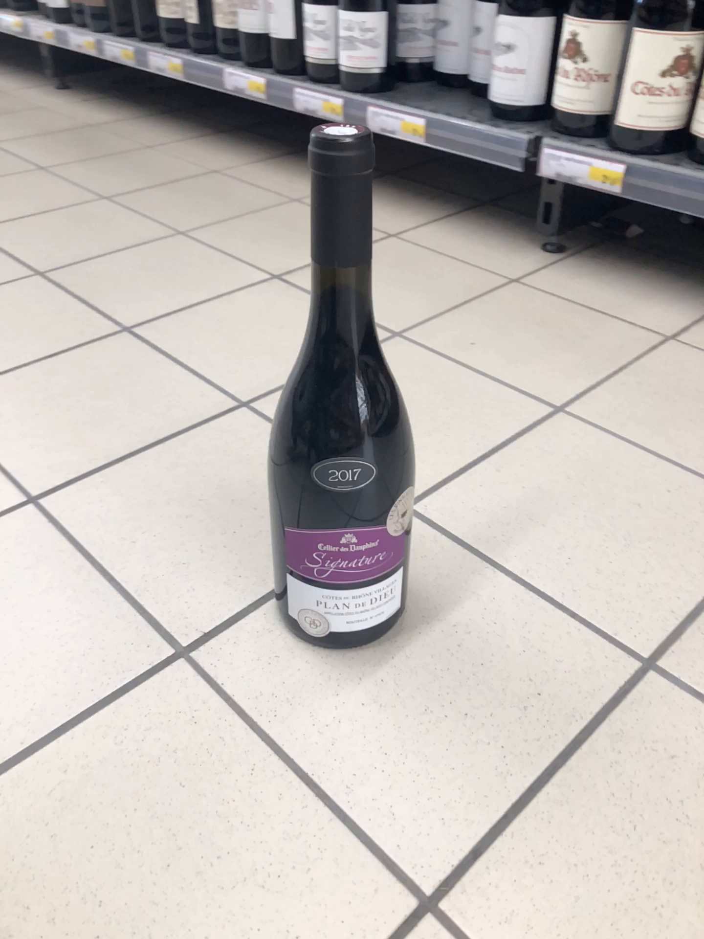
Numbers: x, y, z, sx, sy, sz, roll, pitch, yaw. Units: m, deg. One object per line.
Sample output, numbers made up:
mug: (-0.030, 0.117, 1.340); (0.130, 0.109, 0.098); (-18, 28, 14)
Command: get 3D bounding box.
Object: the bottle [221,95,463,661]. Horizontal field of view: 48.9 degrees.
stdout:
bottle: (-0.010, -0.034, 0.417); (0.090, 0.288, 0.090); (0, 36, 0)
